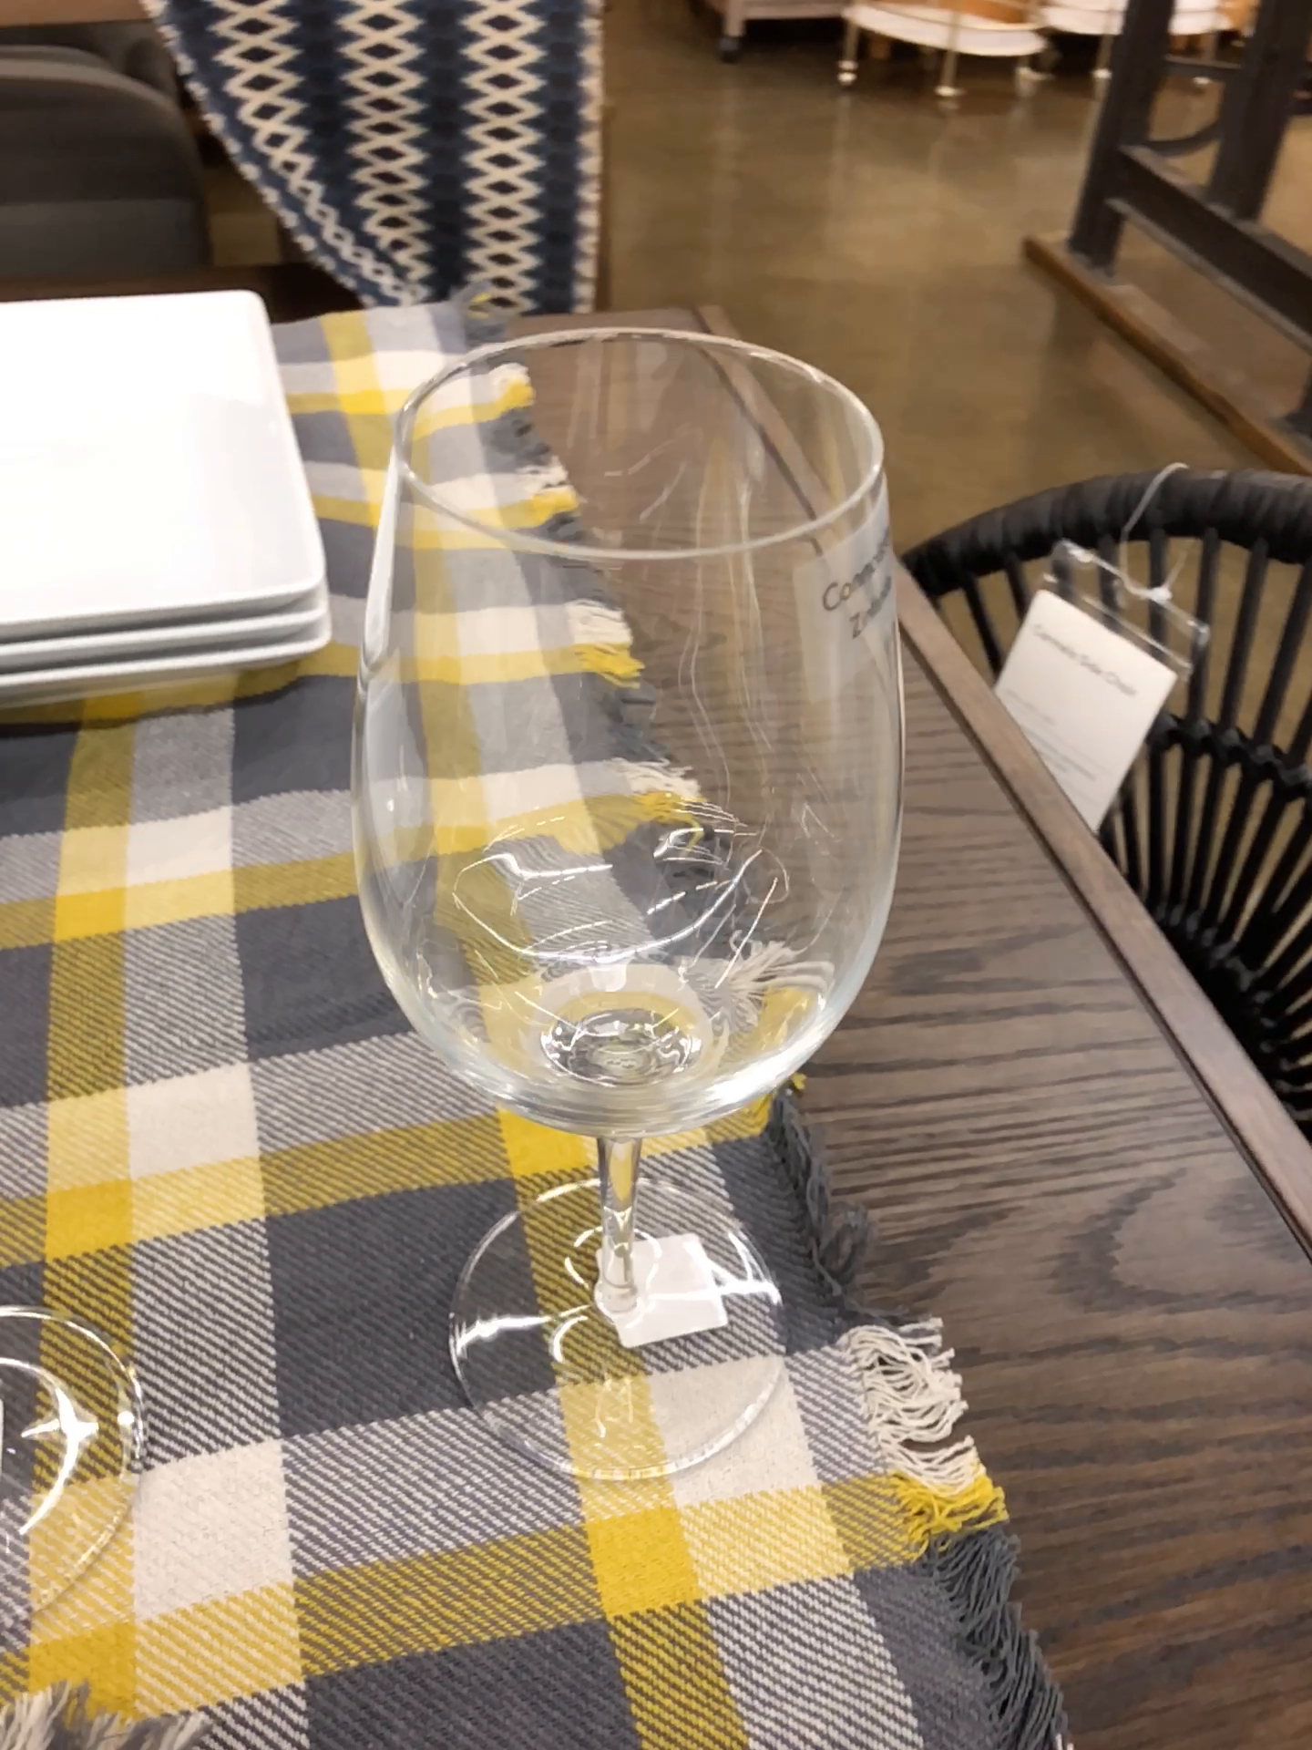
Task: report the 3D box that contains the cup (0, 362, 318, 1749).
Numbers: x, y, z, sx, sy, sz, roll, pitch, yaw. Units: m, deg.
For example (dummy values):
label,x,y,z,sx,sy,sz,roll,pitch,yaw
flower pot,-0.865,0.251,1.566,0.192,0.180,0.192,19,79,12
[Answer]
label,x,y,z,sx,sy,sz,roll,pitch,yaw
cup,-0.130,0.042,0.222,0.096,0.193,0.092,1,42,-1

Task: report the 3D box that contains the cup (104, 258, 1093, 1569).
label,x,y,z,sx,sy,sz,roll,pitch,yaw
cup,-0.005,0.014,0.252,0.096,0.192,0.092,1,42,-1
